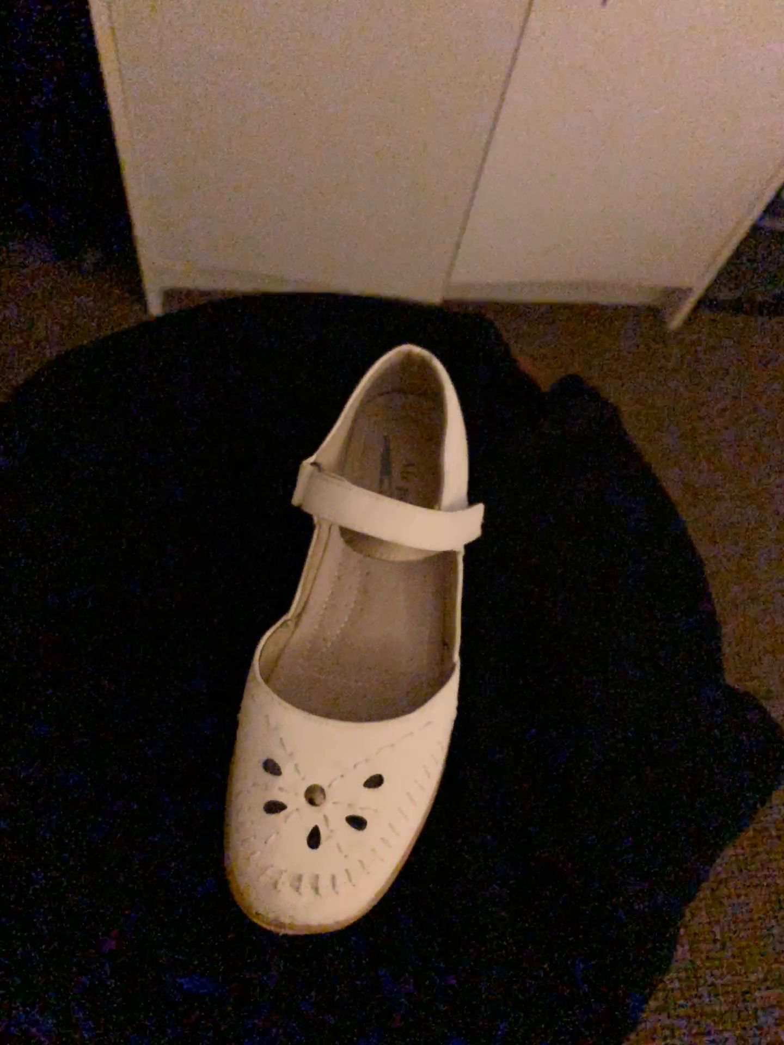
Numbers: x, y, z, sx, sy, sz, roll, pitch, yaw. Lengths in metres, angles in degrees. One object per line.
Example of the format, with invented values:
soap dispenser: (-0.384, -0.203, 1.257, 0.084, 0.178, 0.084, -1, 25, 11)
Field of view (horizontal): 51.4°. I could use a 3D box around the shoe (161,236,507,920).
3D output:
shoe: (-0.015, 0.019, 0.358, 0.097, 0.100, 0.271, 9, 63, -4)
